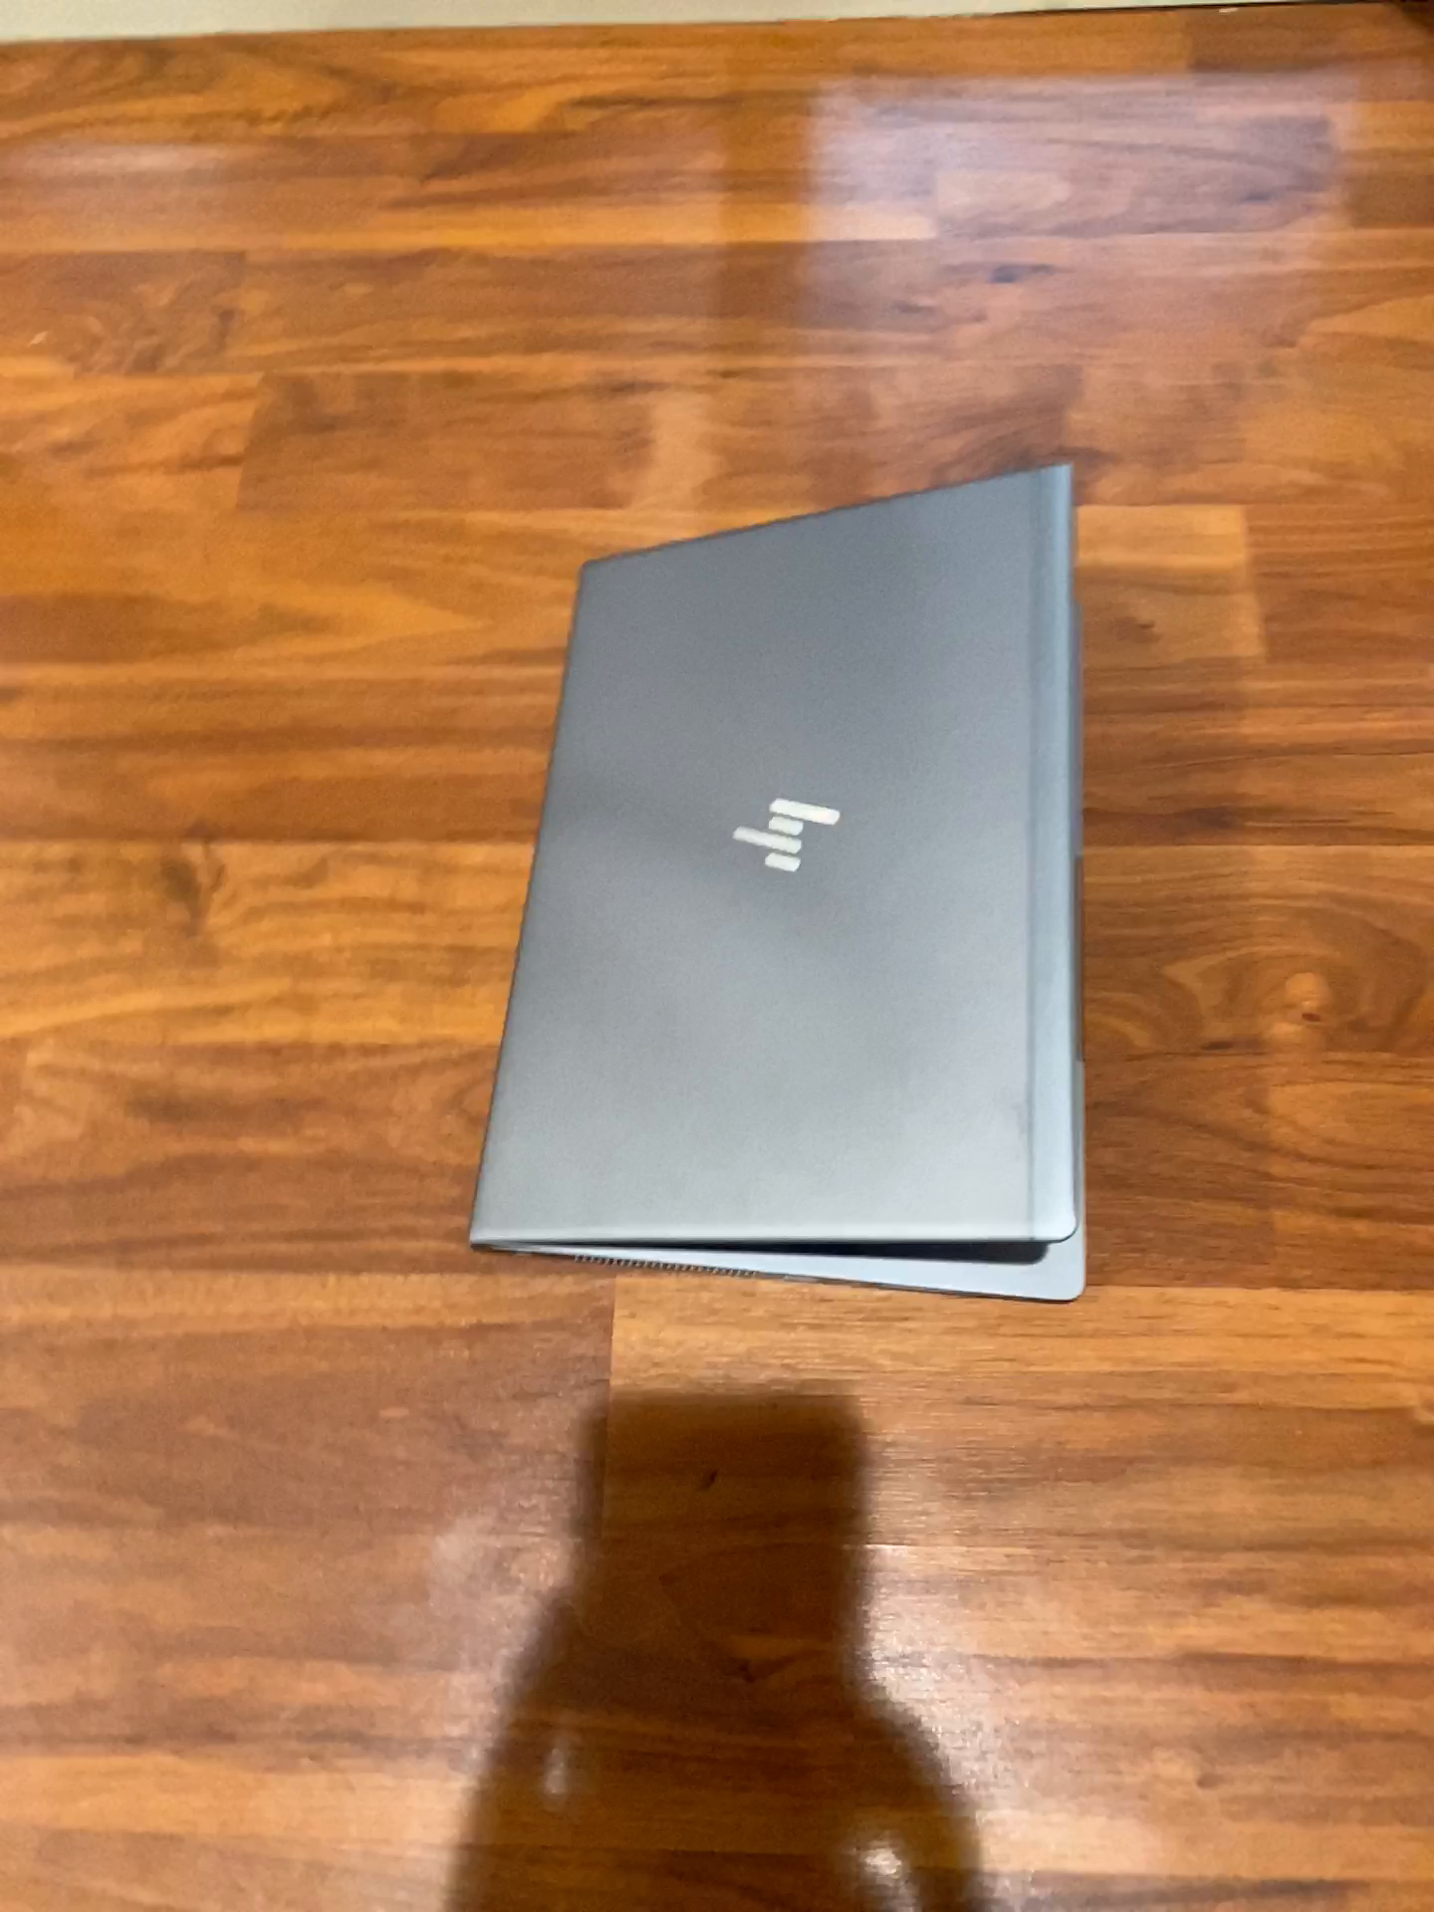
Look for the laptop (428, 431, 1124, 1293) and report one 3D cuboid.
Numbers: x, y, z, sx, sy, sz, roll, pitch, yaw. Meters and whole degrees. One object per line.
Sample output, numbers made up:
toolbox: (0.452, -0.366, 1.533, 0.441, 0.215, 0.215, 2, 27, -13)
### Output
laptop: (0.034, -0.048, 0.581, 0.230, 0.078, 0.325, 5, 66, 3)
